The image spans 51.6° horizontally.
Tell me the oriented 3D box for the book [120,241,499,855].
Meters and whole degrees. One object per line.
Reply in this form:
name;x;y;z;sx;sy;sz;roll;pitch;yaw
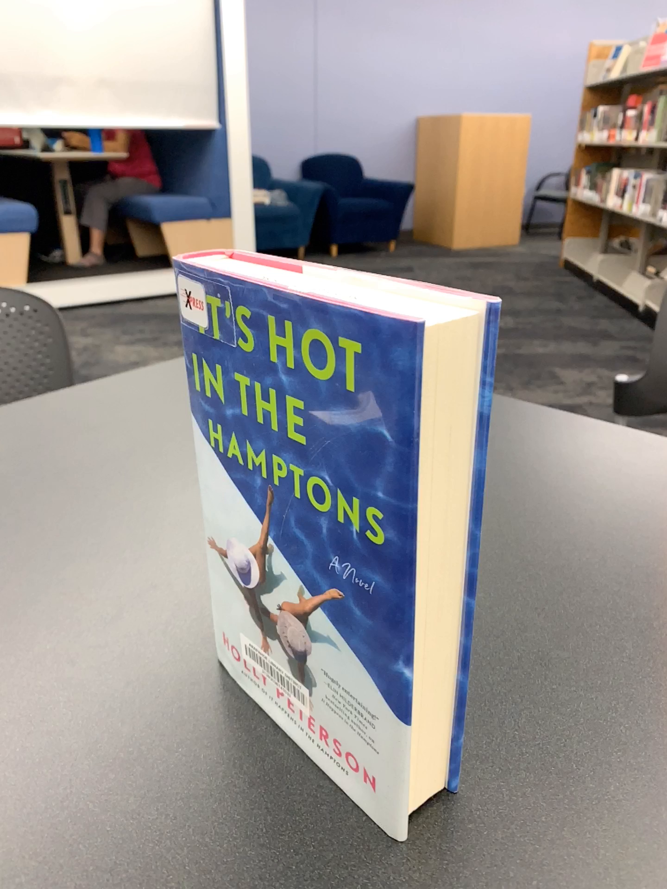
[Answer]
book;-0.020;0.033;0.309;0.050;0.219;0.170;-20;31;-36
